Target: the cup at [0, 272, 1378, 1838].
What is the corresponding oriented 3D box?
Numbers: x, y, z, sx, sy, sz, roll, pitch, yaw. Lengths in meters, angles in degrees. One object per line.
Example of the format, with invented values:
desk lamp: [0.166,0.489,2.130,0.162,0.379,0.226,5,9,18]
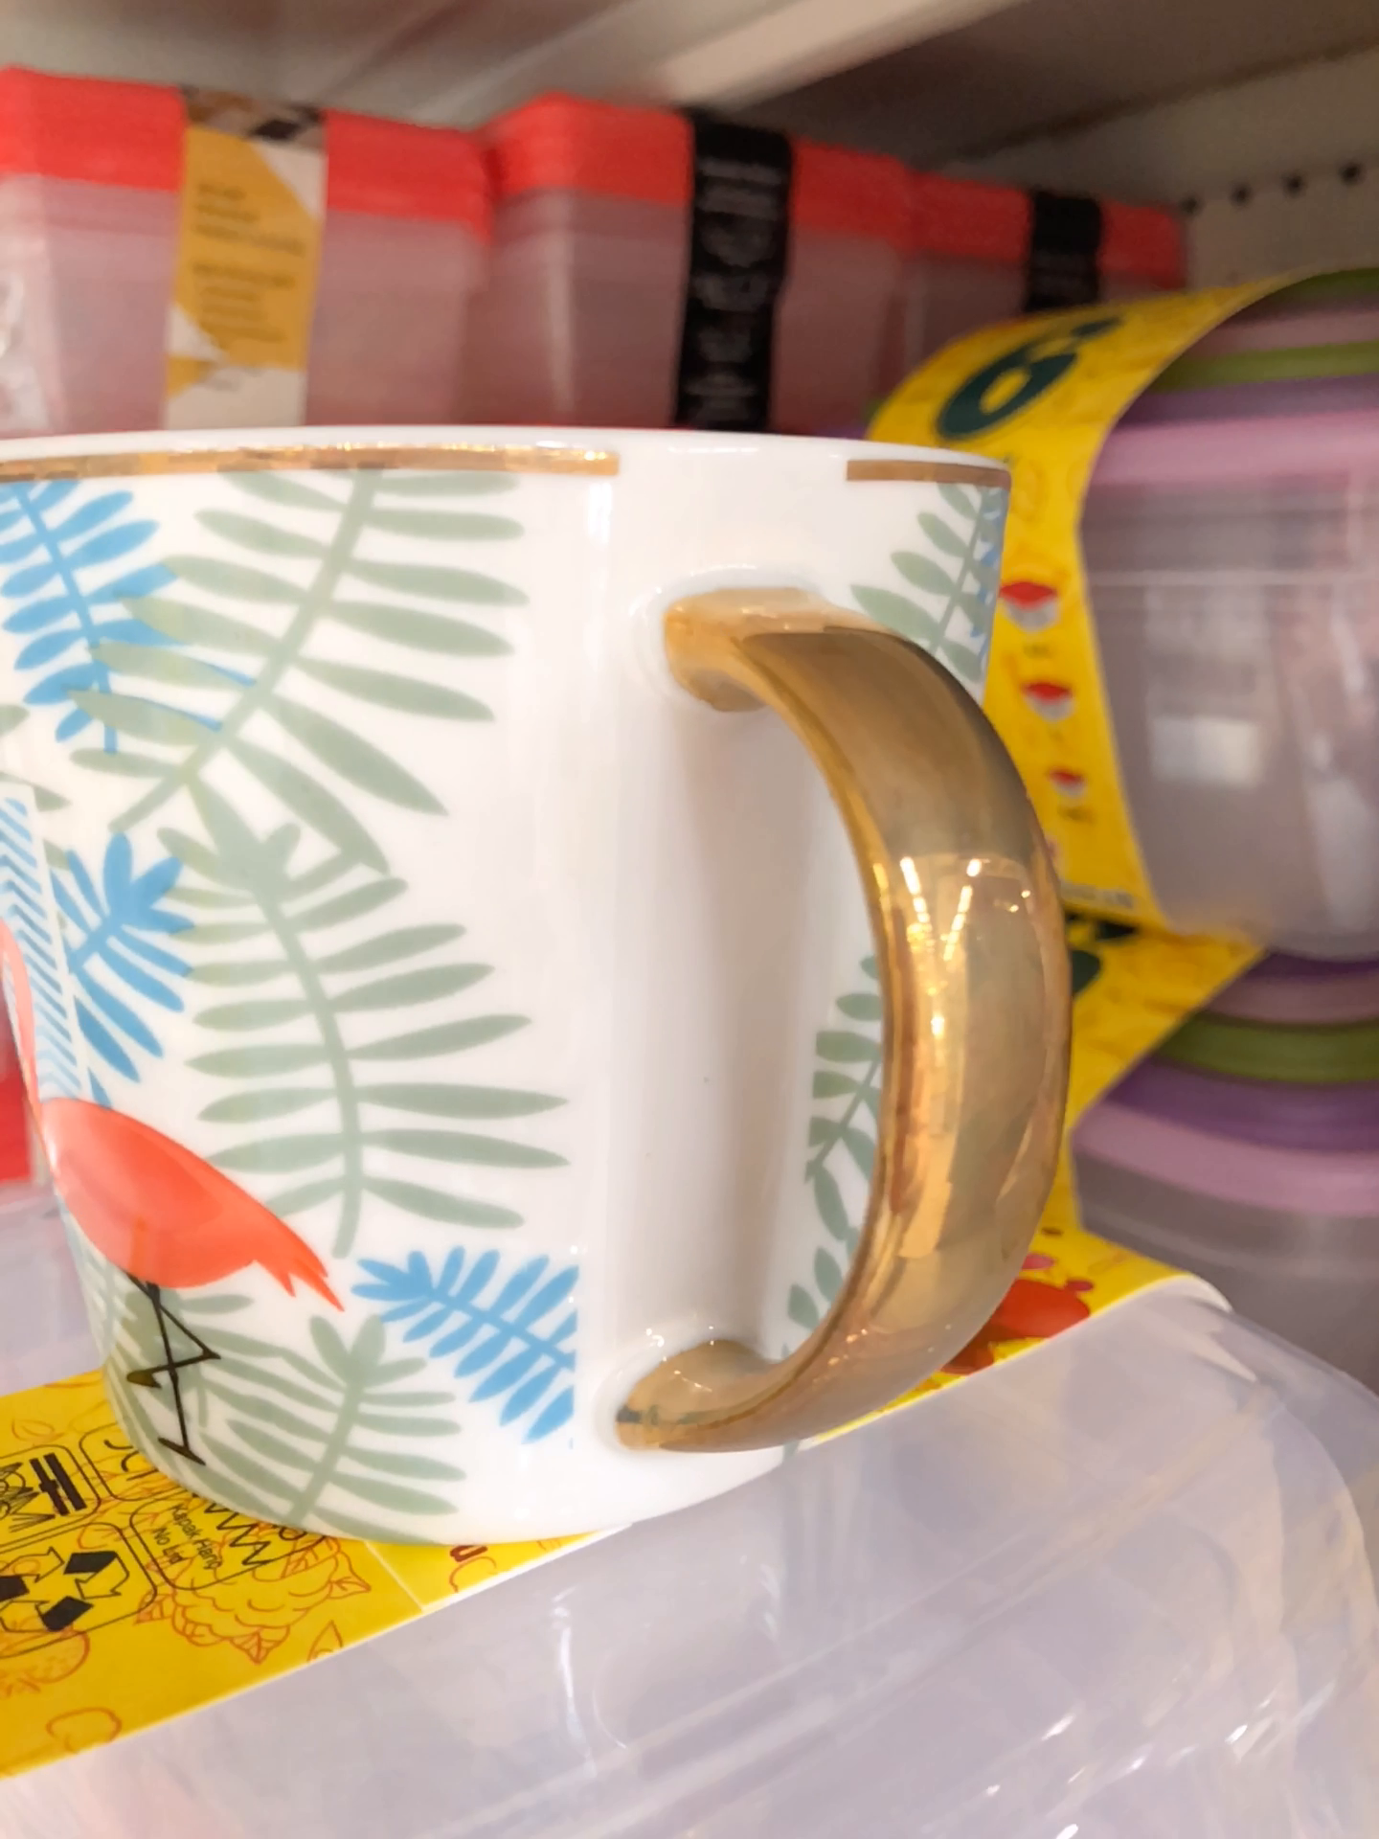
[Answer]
cup: [-0.015,-0.004,0.155,0.128,0.085,0.102,10,16,42]
